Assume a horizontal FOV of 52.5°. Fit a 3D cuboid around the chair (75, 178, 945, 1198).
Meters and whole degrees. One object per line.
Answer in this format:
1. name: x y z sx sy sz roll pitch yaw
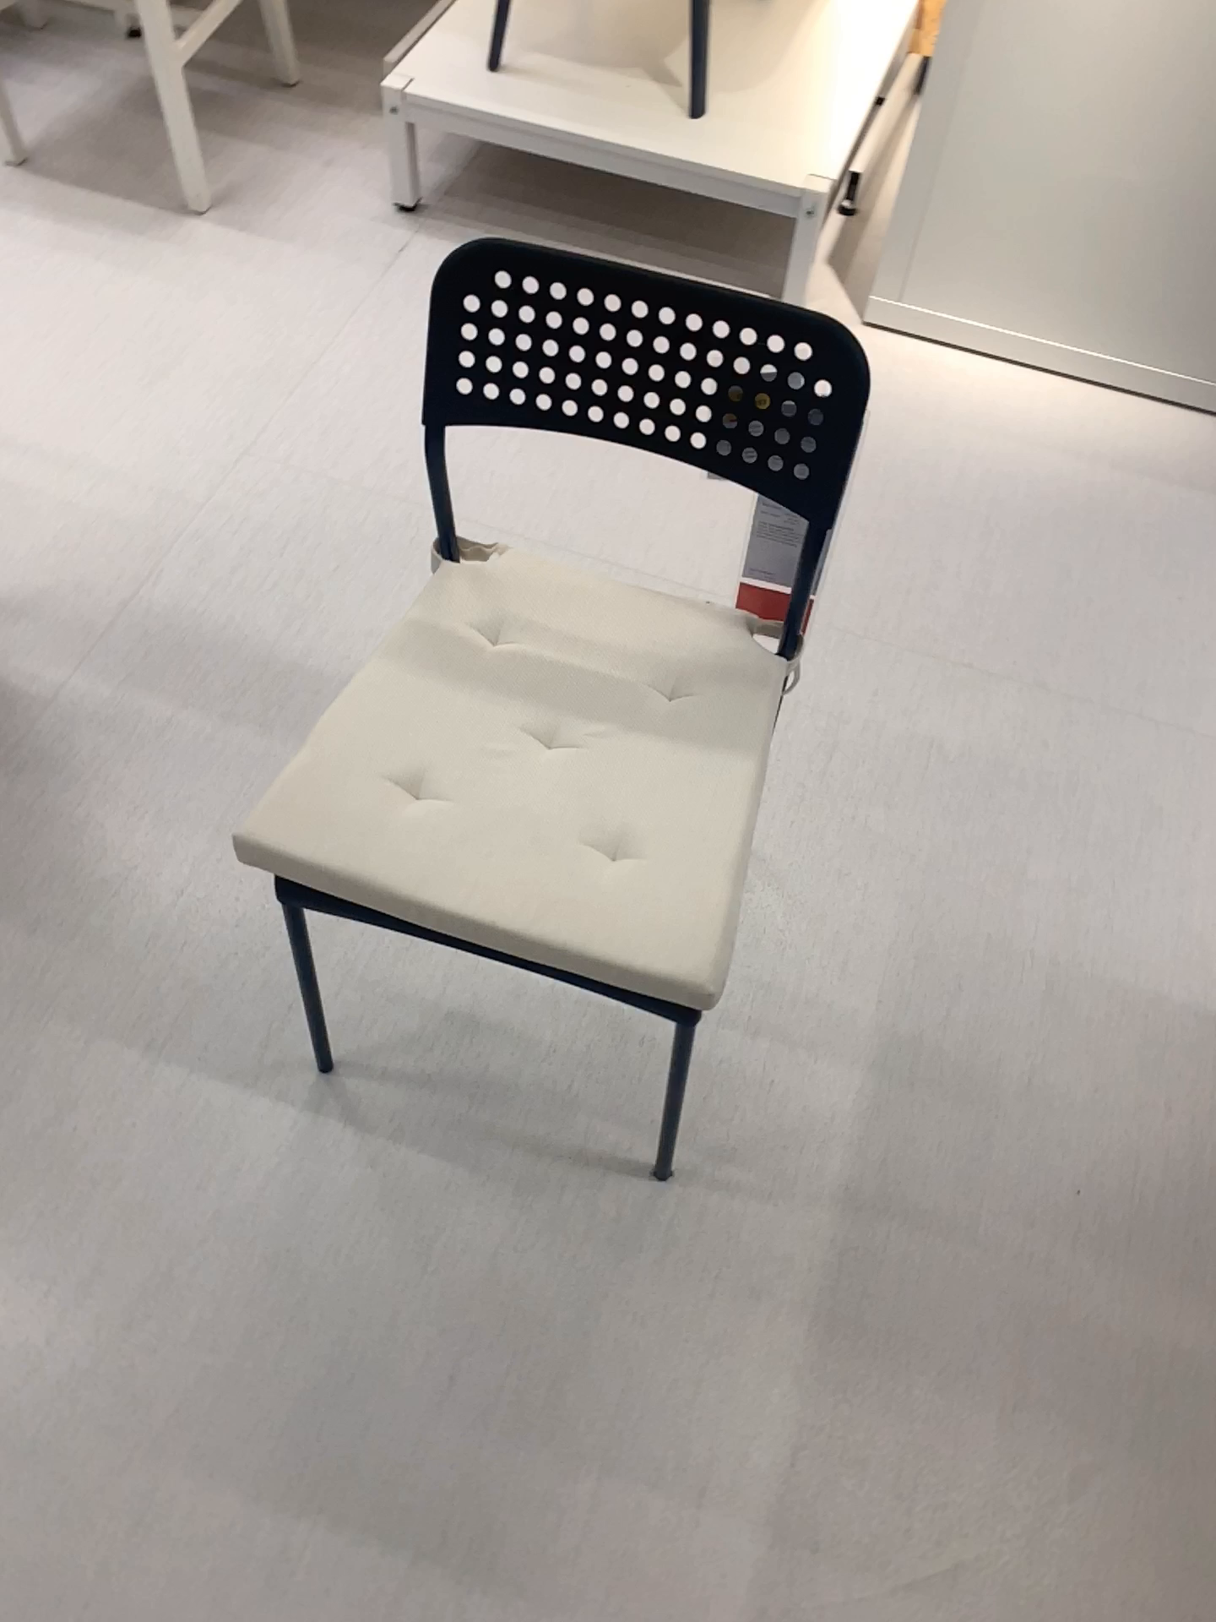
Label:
1. chair: -0.049 -0.051 1.161 0.450 0.758 0.491 17 58 8
